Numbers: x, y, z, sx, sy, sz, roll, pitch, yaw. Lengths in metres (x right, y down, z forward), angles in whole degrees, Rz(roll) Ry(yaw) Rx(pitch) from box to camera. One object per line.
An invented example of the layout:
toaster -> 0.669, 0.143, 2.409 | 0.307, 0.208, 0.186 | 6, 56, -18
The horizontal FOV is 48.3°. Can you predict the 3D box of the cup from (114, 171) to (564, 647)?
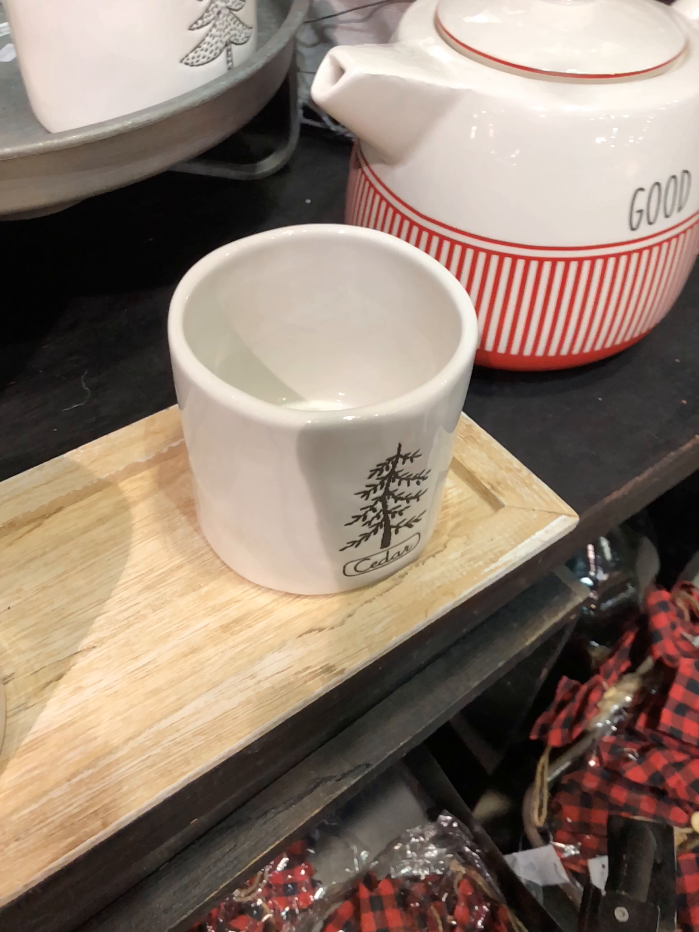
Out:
cup -> -0.008, -0.019, 0.254 | 0.097, 0.100, 0.087 | -19, 54, -17
